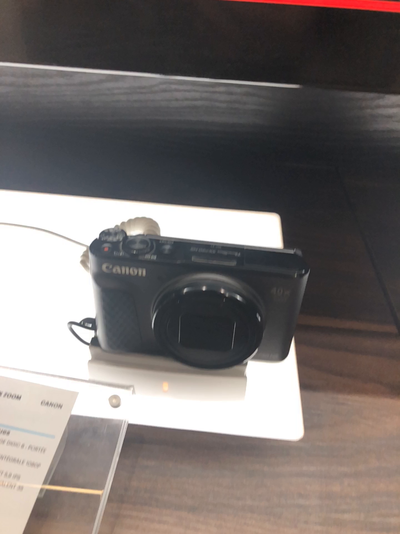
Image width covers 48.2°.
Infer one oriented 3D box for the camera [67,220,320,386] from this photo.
[{"bbox_3d":[-0.004,0.019,0.234,0.114,0.069,0.035,6,35,3],"label":"camera"}]
